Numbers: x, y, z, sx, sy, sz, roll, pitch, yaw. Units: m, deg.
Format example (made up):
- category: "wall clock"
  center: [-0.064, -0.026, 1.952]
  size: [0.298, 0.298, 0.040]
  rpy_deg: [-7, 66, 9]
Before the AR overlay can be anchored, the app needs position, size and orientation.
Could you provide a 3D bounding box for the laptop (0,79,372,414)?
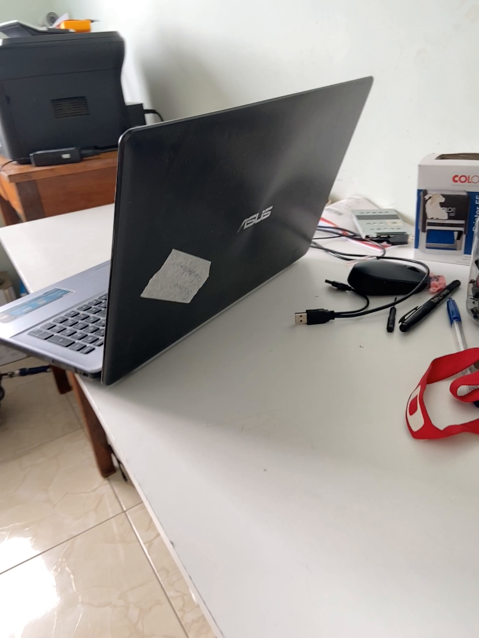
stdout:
- category: "laptop"
  center: [-0.091, -0.134, 0.578]
  size: [0.356, 0.213, 0.377]
  rpy_deg: [14, 33, 35]
